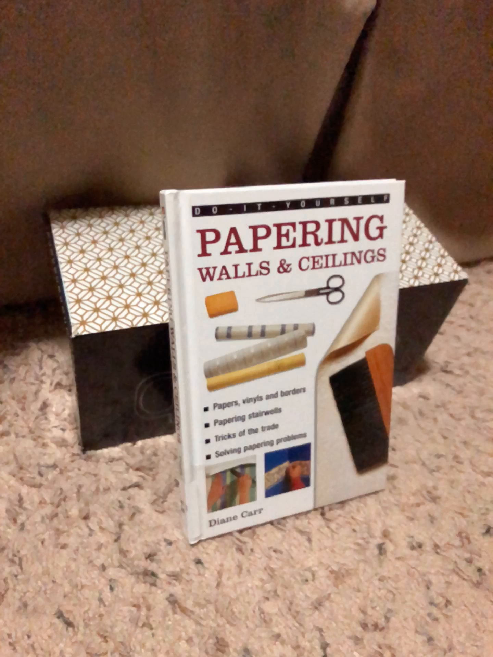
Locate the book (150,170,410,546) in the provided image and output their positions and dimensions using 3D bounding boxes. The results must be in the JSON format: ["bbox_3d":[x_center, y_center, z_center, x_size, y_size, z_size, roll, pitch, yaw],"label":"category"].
[{"bbox_3d":[0.024,0.018,0.323,0.143,0.207,0.015,-9,20,-20],"label":"book"}]
